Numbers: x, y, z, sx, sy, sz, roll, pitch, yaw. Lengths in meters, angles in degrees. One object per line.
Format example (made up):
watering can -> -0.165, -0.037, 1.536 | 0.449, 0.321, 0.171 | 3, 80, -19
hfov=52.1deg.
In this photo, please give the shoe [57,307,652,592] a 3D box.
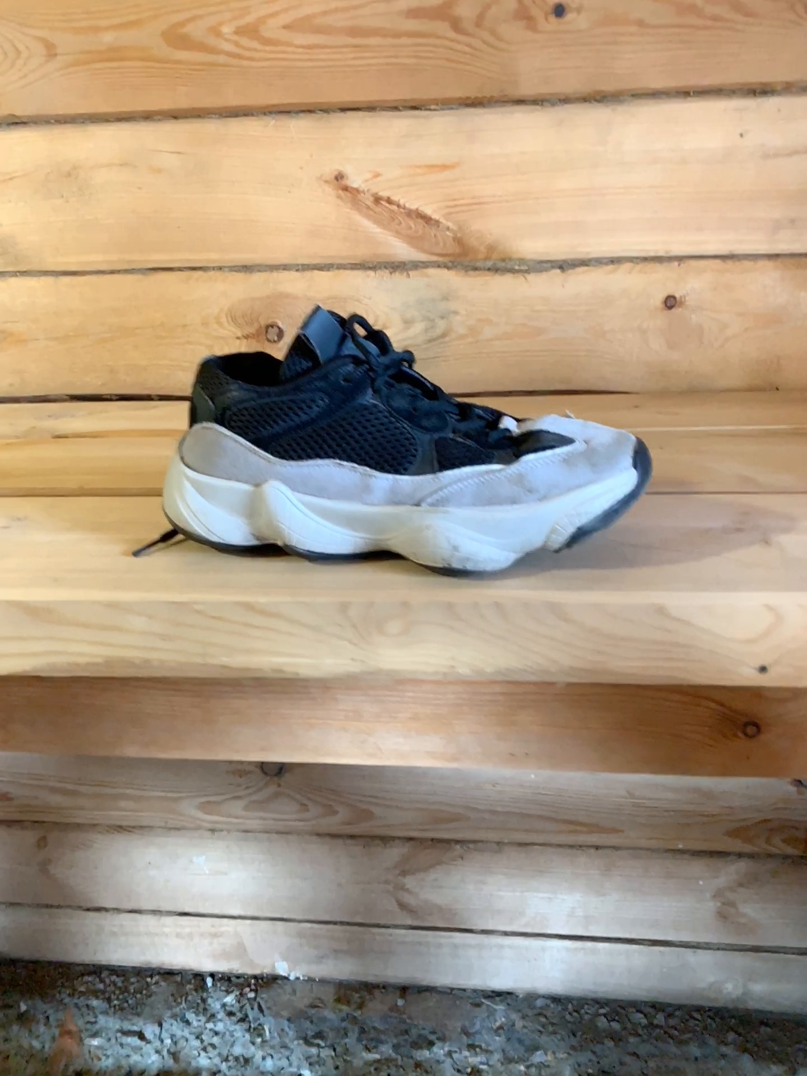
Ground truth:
shoe -> -0.017, -0.058, 0.426 | 0.270, 0.109, 0.121 | 4, 19, 16
